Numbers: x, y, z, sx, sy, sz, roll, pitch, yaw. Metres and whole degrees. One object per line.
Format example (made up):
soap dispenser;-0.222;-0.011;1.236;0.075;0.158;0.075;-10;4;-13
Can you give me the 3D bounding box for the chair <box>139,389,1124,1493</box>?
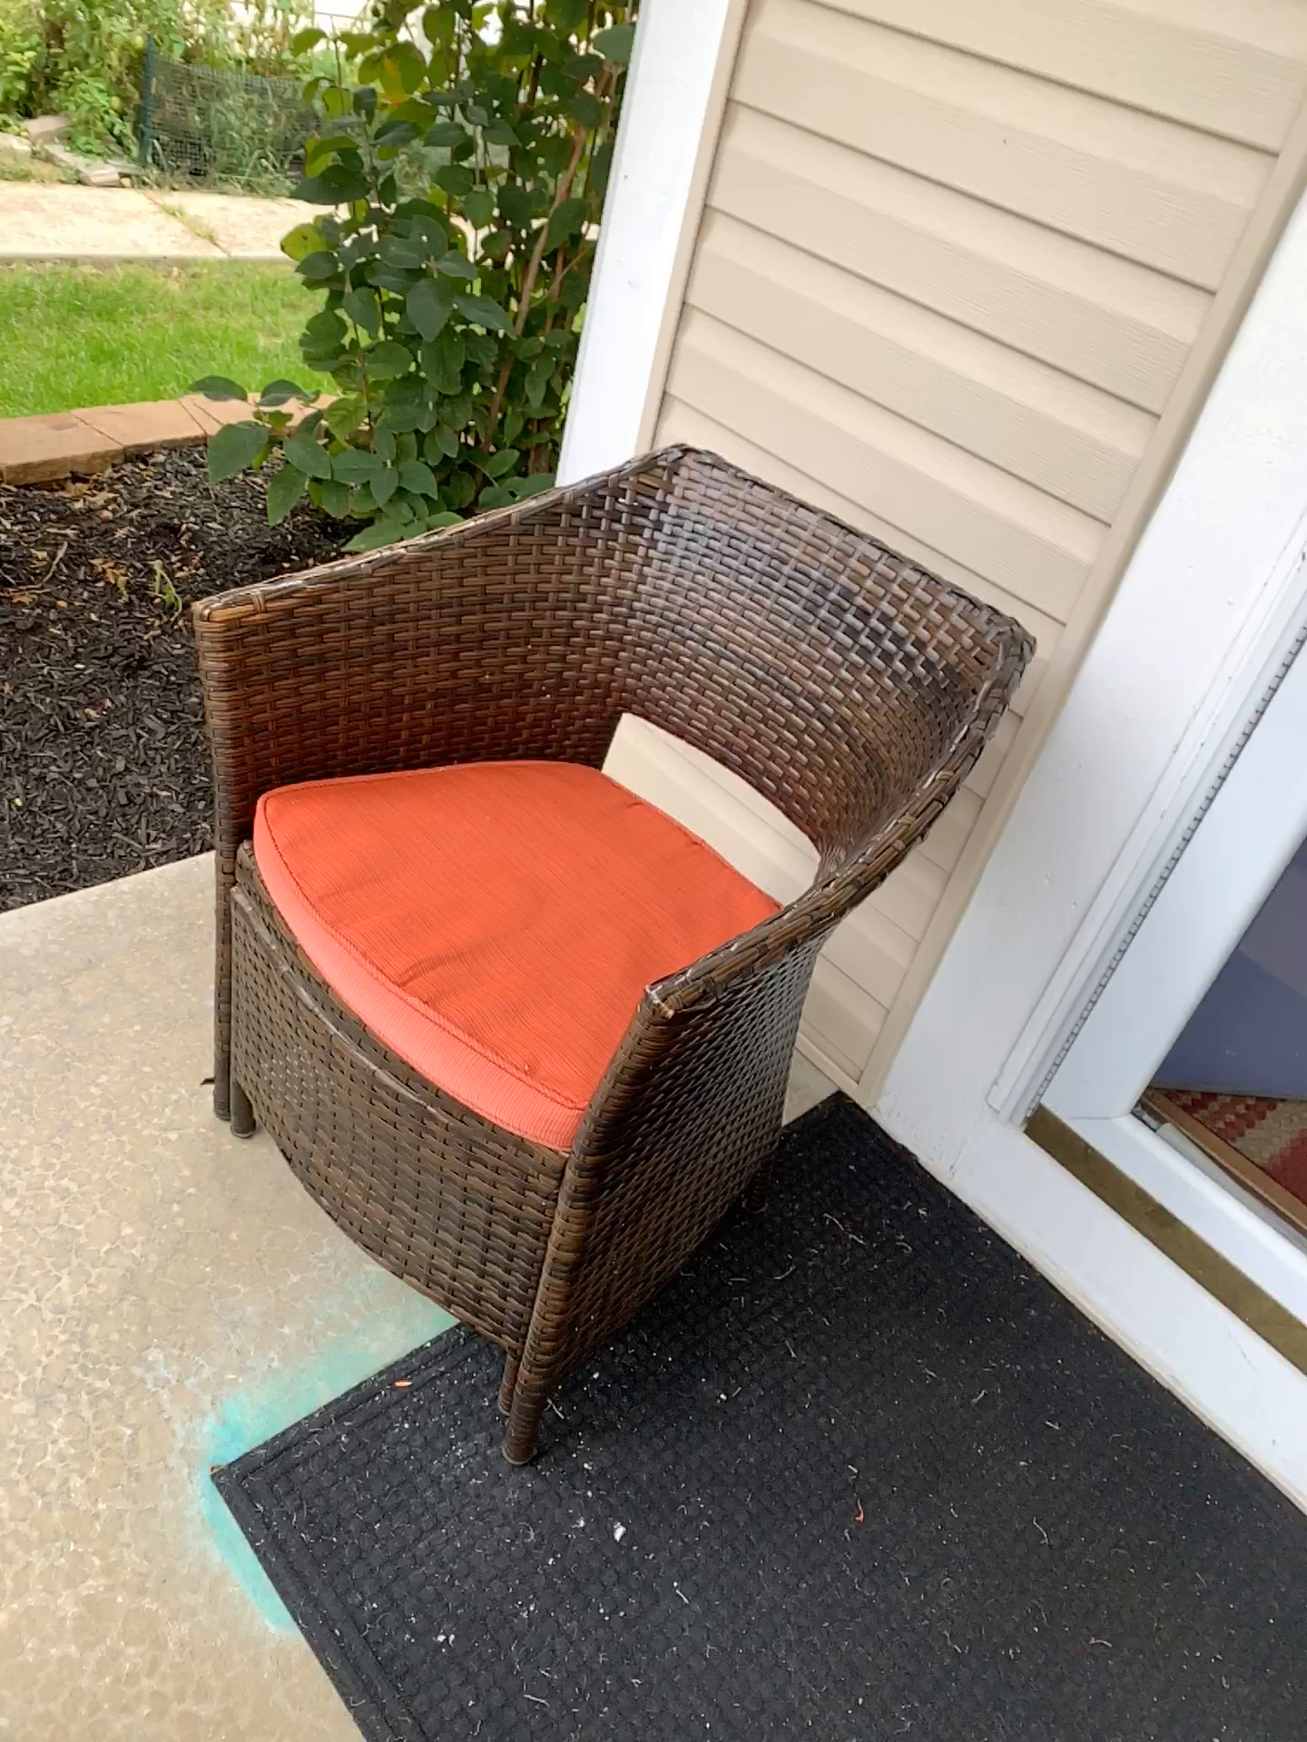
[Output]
chair;-0.078;0.020;1.393;0.643;0.757;0.608;37;41;27
